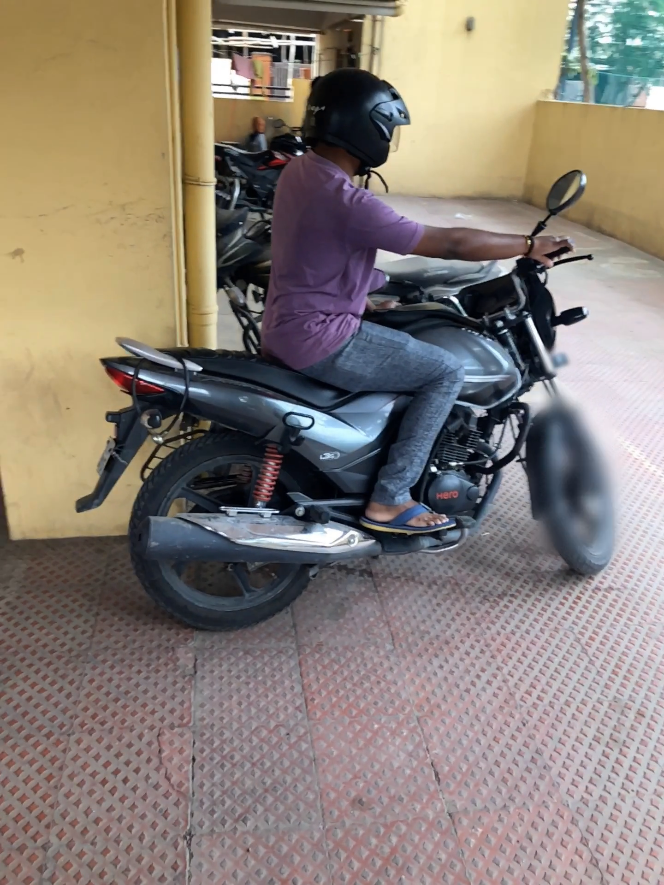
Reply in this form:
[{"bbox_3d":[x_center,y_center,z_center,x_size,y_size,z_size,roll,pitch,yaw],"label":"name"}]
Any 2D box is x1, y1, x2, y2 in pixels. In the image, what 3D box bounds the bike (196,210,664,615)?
[{"bbox_3d":[0.263,-0.144,2.358,1.238,0.999,0.703,-5,27,-20],"label":"bike"}]
